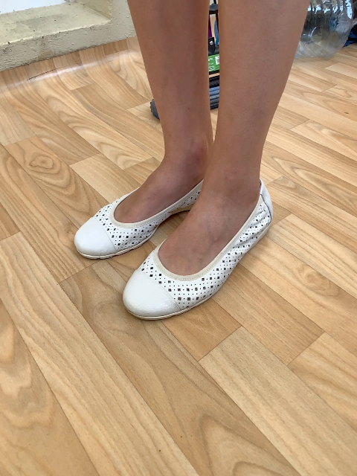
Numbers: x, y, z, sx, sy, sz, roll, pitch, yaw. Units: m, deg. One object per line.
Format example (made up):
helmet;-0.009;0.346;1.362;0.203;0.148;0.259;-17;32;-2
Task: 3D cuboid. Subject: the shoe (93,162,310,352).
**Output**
shoe;0.040;0.006;0.449;0.270;0.070;0.090;-34;52;-29

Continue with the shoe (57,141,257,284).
shoe;-0.023;-0.050;0.536;0.270;0.070;0.100;-27;49;-25
